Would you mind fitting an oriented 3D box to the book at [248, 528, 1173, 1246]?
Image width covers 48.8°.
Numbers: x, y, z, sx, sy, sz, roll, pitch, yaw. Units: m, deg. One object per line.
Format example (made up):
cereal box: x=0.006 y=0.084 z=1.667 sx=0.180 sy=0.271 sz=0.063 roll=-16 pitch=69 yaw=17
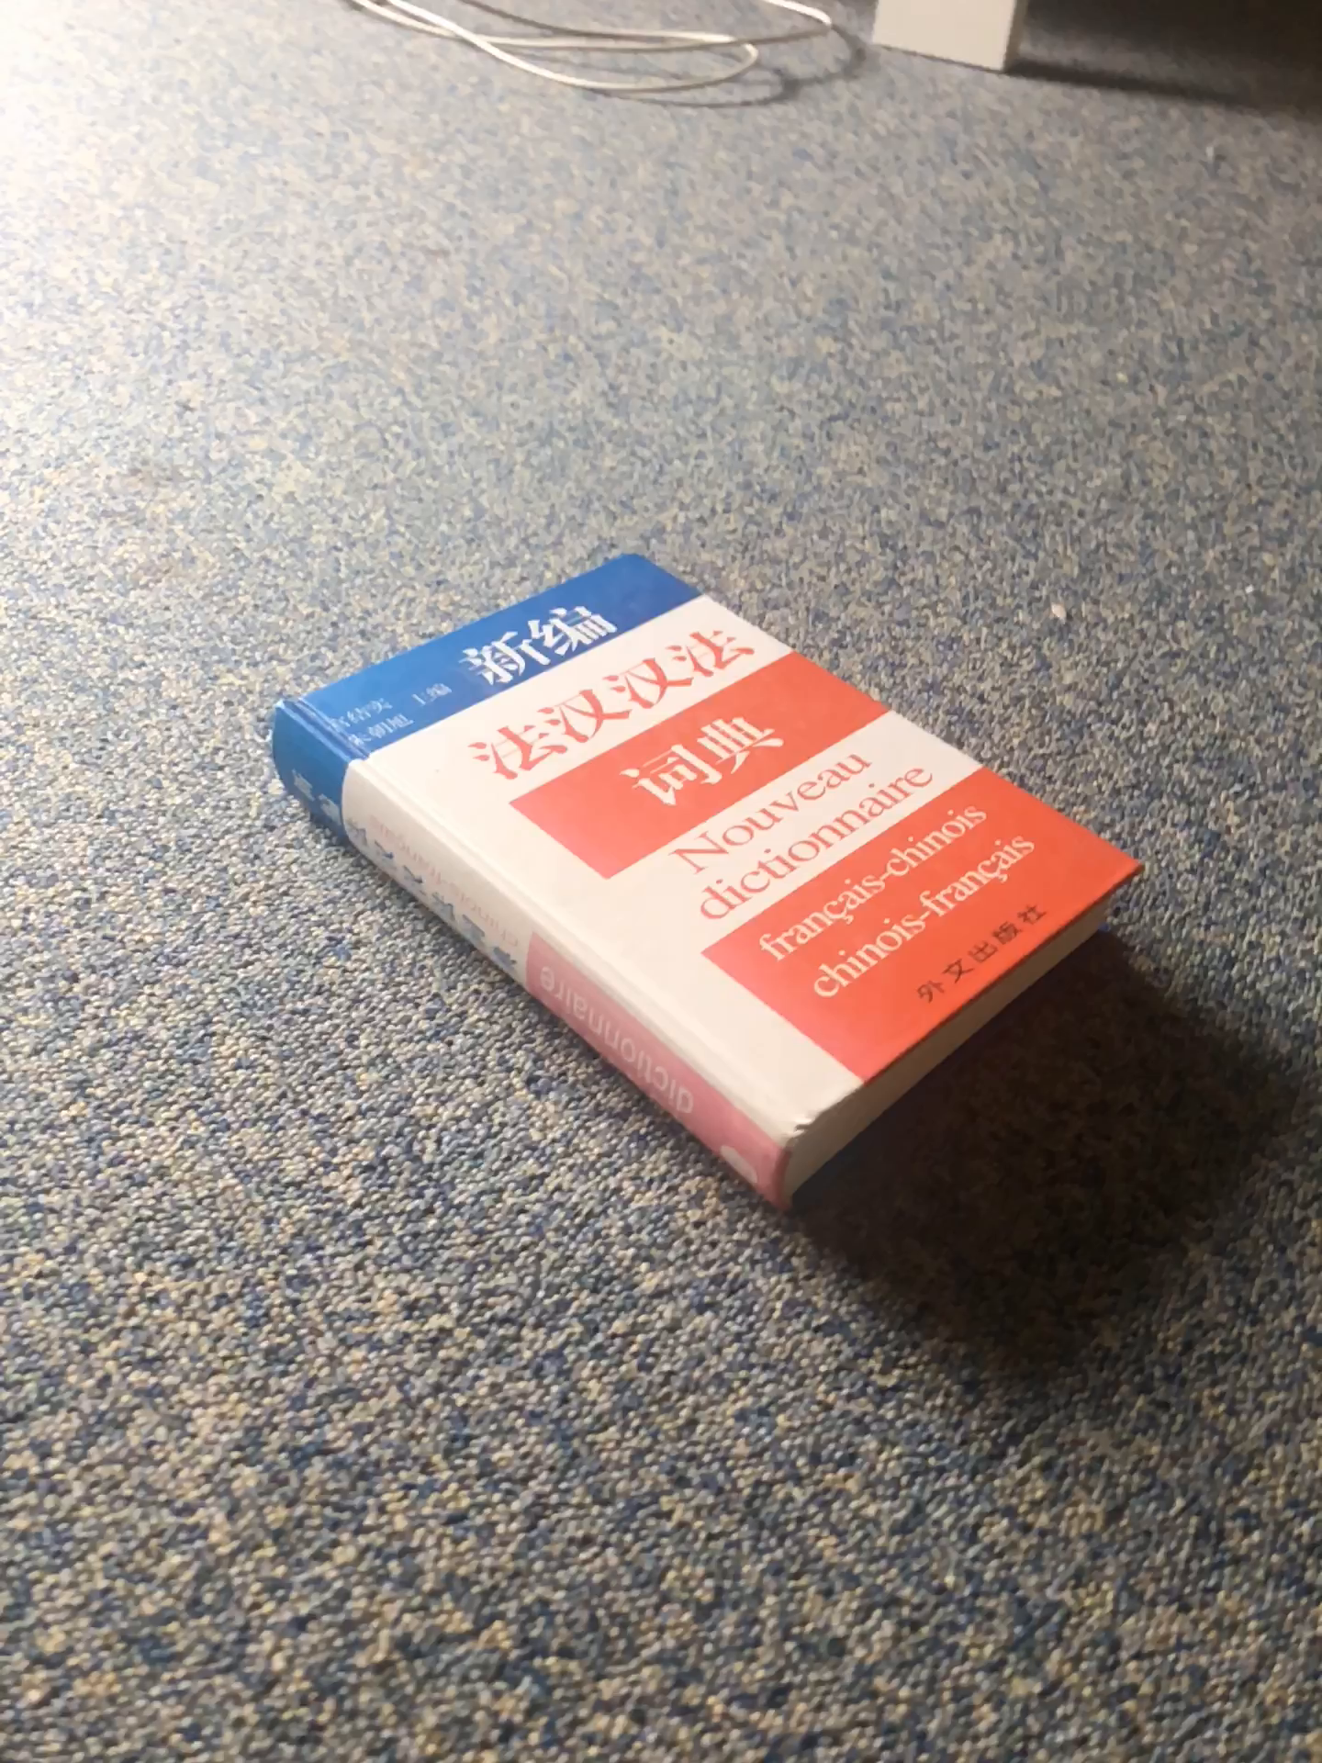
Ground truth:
book: x=0.010 y=-0.018 z=0.413 sx=0.153 sy=0.034 sz=0.208 roll=-32 pitch=55 yaw=-33
